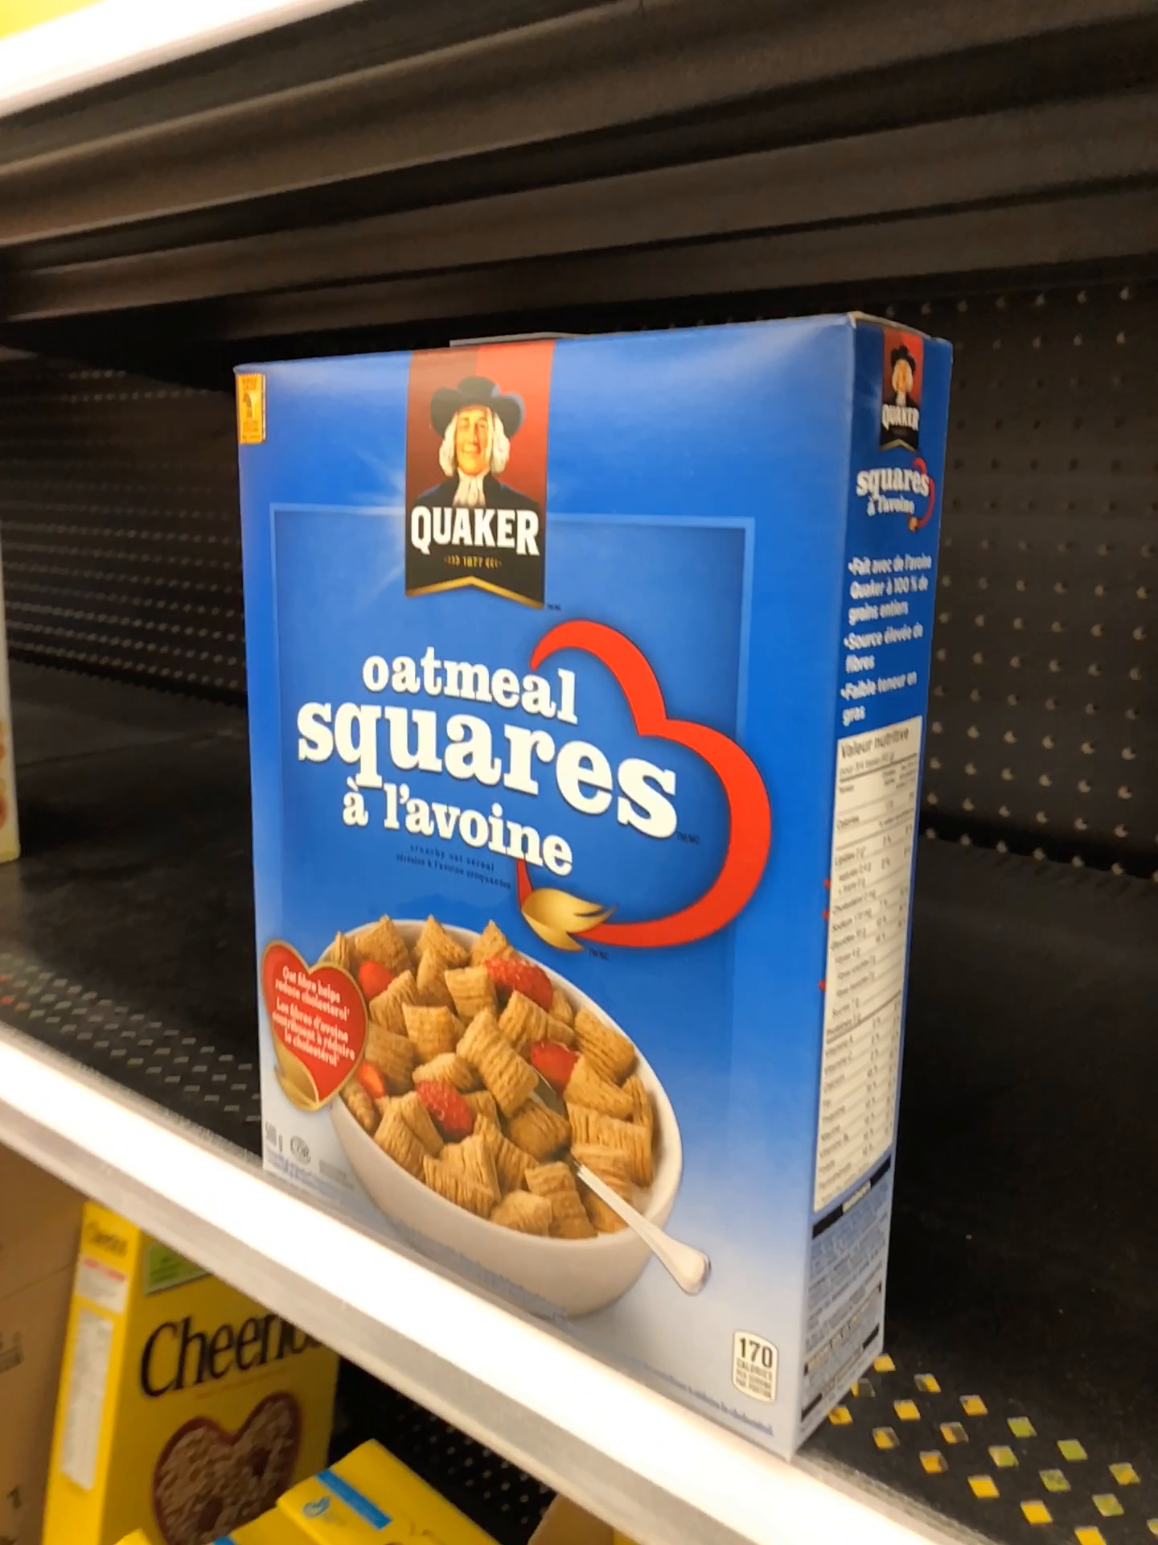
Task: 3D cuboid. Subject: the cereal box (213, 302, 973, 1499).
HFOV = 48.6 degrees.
[{"bbox_3d":[-0.010,0.021,0.372,0.210,0.279,0.060,11,16,37],"label":"cereal box"}]
